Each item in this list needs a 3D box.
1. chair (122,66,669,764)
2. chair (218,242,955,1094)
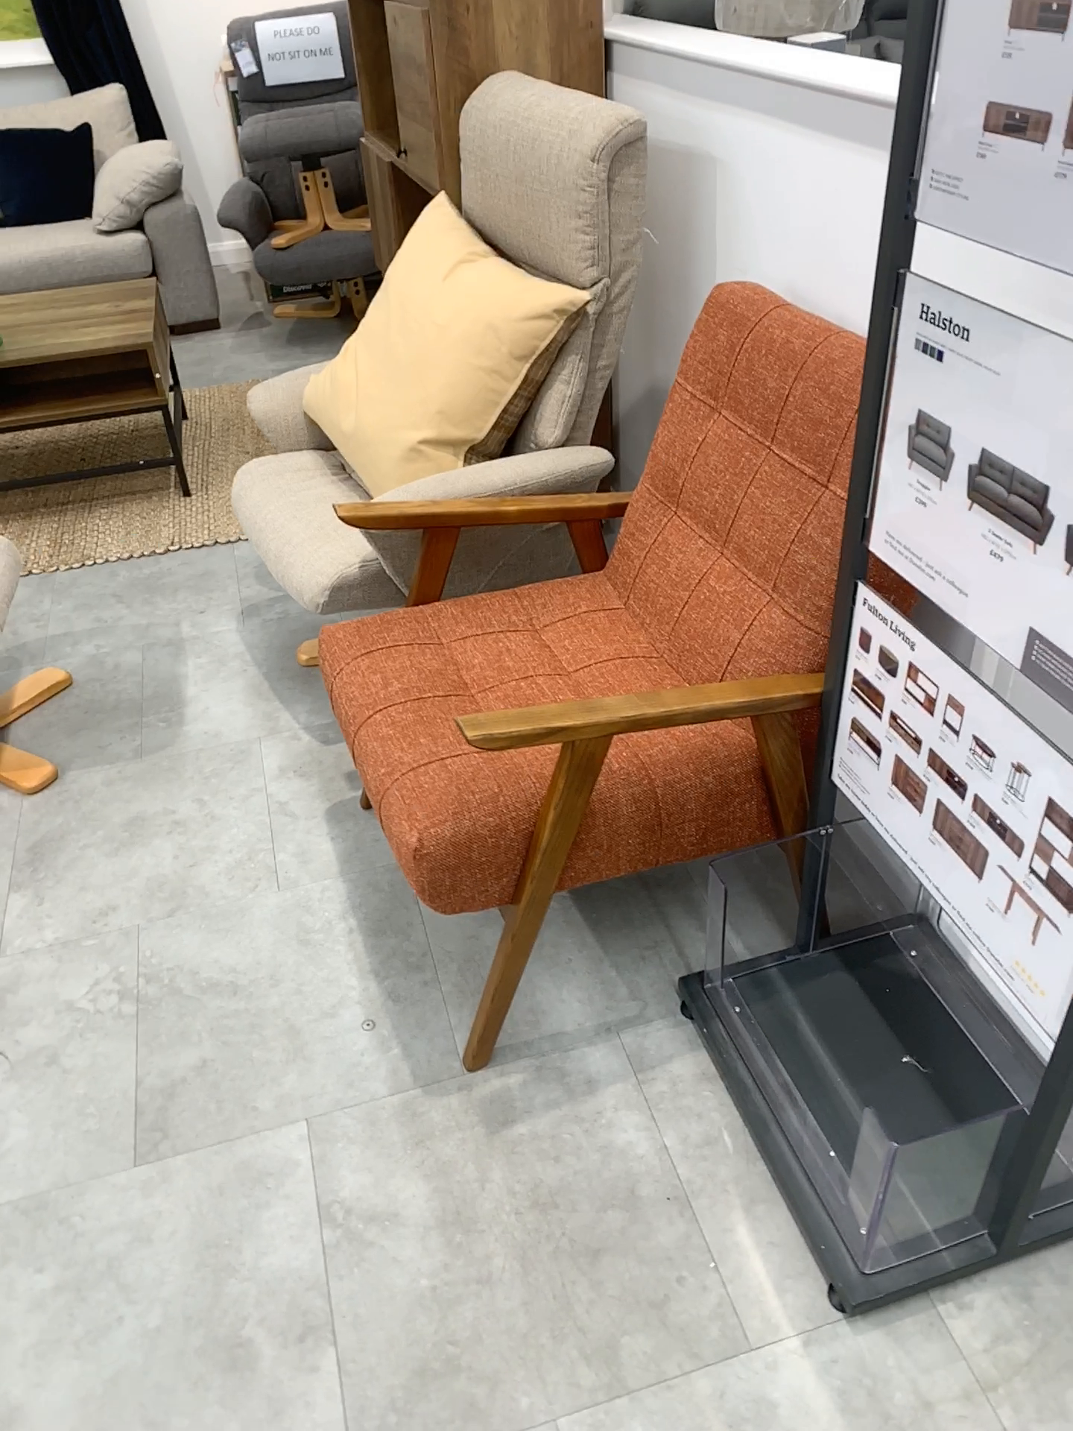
[{"bbox_3d":[-0.236,-0.608,2.103,0.680,1.013,0.703,-21,39,-23],"label":"chair"},{"bbox_3d":[0.028,-0.110,1.608,0.700,0.884,0.693,-15,37,-15],"label":"chair"}]
